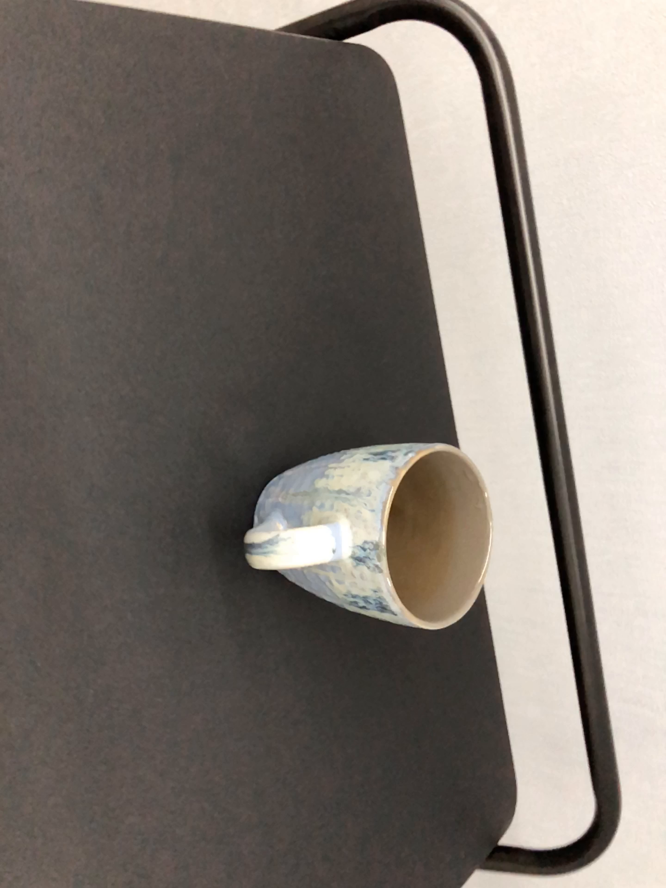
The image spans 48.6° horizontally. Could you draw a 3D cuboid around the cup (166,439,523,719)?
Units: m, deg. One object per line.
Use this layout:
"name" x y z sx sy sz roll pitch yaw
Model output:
"cup" 0.008 0.051 0.349 0.121 0.107 0.089 -11 96 -47
